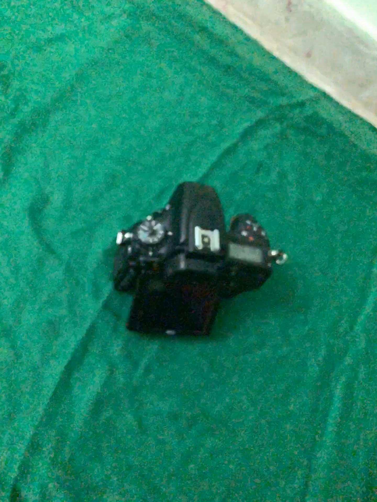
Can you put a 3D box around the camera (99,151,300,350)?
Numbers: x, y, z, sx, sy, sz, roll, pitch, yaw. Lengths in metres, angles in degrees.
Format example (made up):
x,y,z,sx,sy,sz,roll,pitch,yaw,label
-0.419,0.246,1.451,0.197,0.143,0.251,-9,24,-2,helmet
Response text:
x,y,z,sx,sy,sz,roll,pitch,yaw,label
0.007,0.009,0.359,0.142,0.100,0.128,12,62,-18,camera
